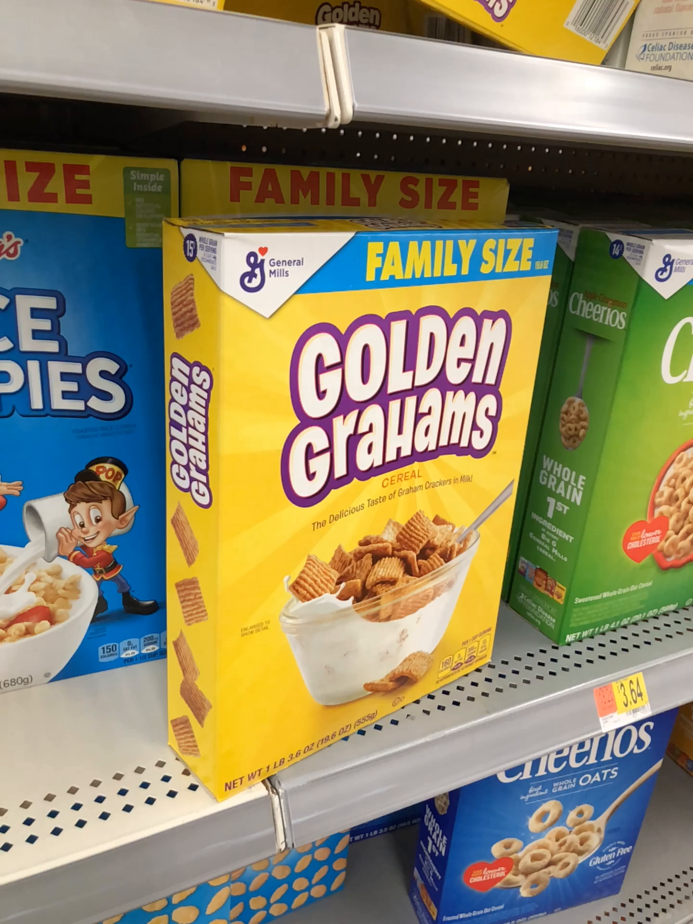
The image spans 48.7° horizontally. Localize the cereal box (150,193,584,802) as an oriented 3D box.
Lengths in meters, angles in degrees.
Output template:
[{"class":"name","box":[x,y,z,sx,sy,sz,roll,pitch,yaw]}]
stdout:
[{"class":"cereal box","box":[0.011,0.009,0.458,0.240,0.309,0.070,-14,30,-38]}]
